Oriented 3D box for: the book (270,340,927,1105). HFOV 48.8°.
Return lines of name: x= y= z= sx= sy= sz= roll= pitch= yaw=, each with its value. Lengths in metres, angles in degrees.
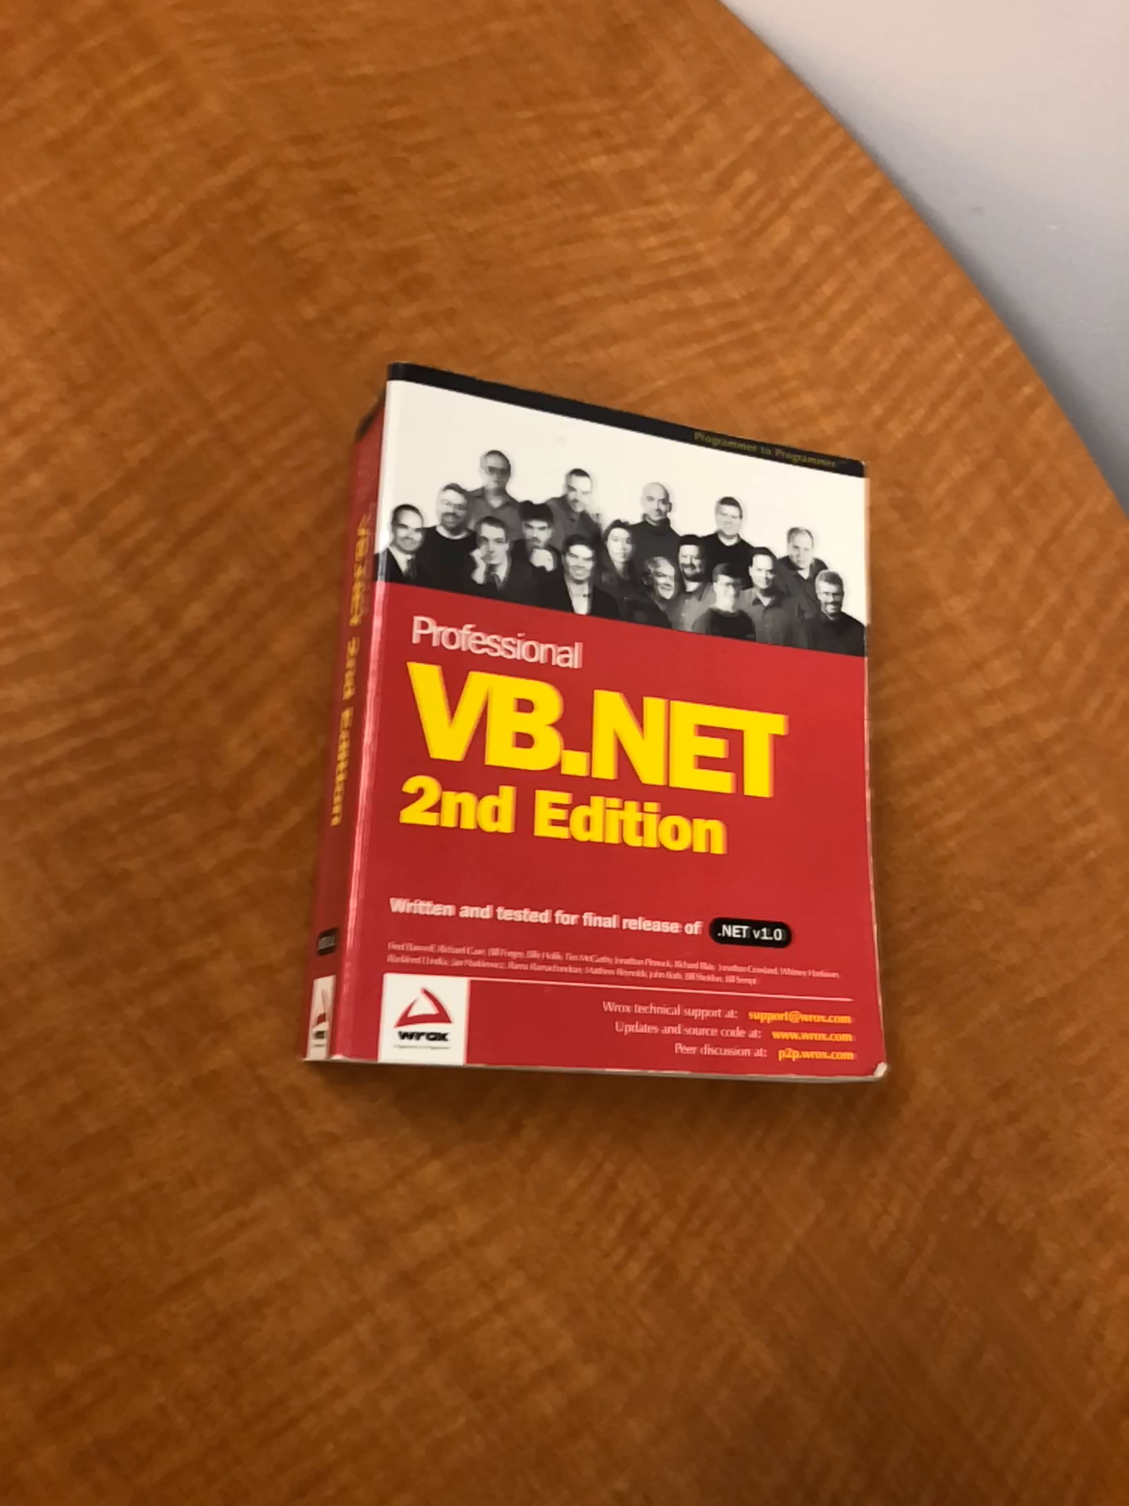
book: x=0.016 y=-0.002 z=0.427 sx=0.200 sy=0.060 sz=0.230 roll=8 pitch=72 yaw=-19
